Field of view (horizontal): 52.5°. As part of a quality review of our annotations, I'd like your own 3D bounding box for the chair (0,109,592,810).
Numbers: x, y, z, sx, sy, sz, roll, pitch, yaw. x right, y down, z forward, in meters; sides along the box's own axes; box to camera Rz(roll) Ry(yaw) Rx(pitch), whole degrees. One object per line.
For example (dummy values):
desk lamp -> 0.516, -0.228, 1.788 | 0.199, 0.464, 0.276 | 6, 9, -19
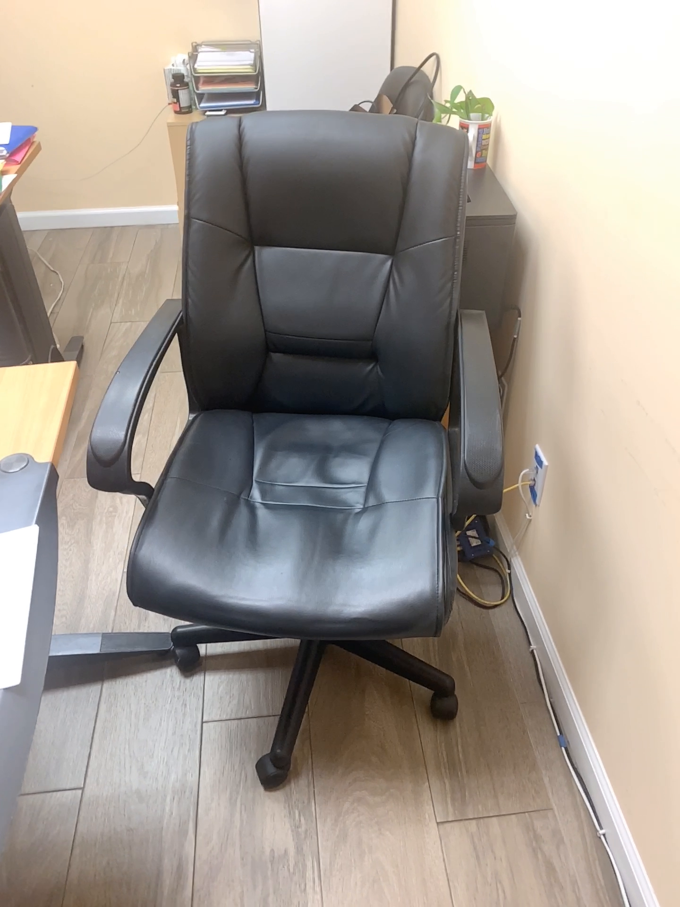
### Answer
chair -> -0.055, 0.019, 1.167 | 0.620, 0.946, 0.666 | 3, 40, 5
